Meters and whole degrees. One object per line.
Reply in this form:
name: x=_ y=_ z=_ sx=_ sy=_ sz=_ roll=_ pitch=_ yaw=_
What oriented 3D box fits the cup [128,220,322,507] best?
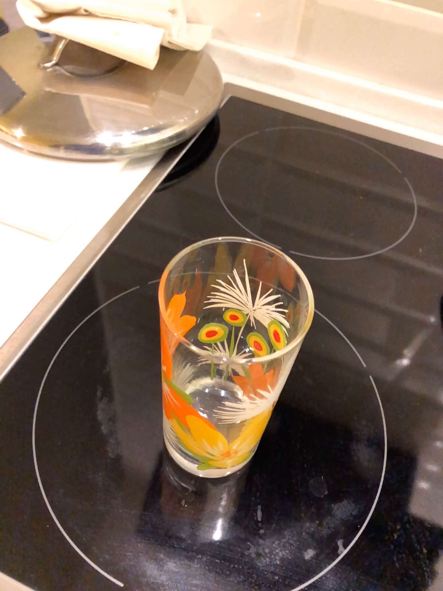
cup: x=-0.001 y=0.043 z=0.244 sx=0.062 sy=0.138 sz=0.067 roll=3 pitch=51 yaw=-4
